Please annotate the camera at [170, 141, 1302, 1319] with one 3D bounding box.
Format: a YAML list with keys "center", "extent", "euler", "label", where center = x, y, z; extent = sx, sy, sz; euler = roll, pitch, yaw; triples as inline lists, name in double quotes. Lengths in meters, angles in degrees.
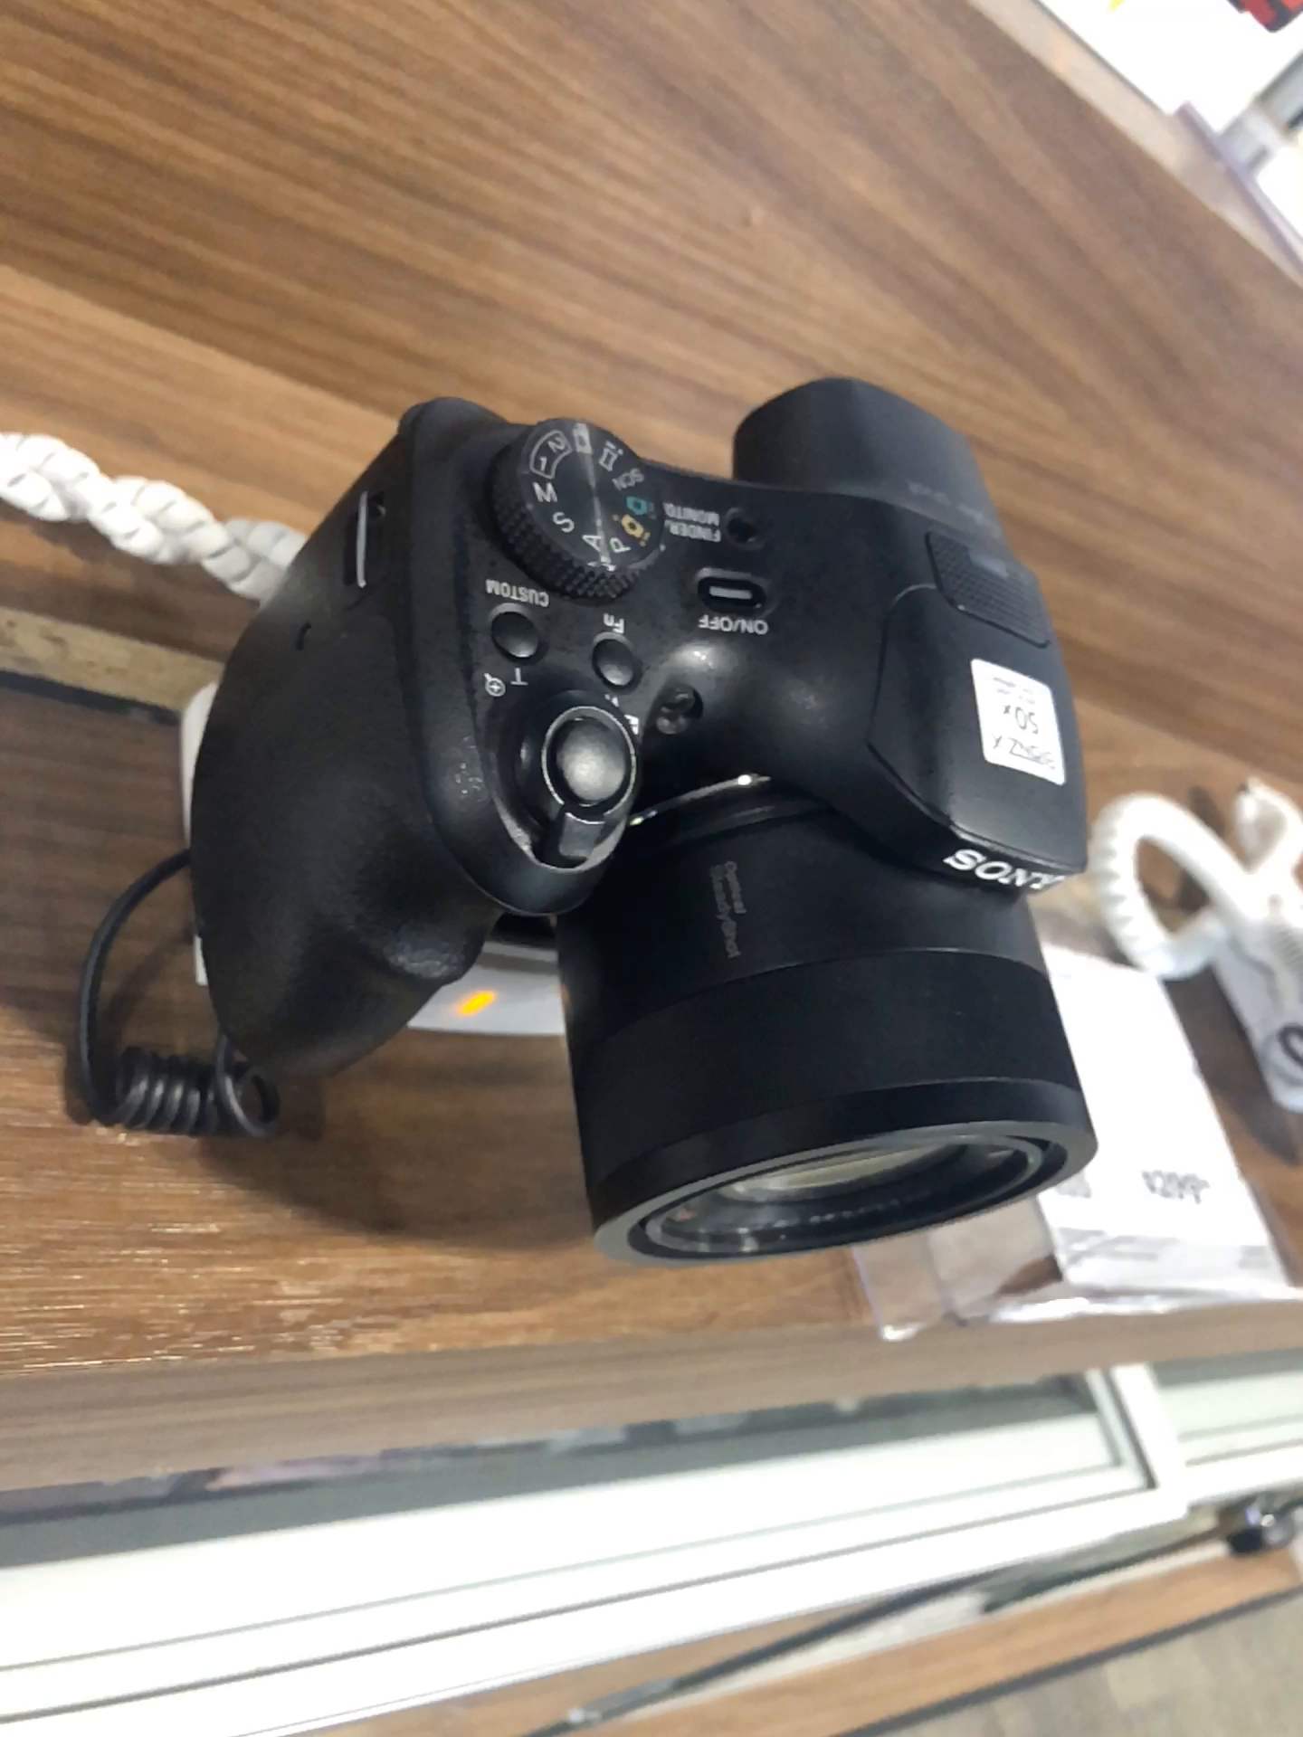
- center: [0.013, -0.007, 0.208]
  extent: [0.125, 0.084, 0.110]
  euler: [12, 49, -39]
  label: "camera"
